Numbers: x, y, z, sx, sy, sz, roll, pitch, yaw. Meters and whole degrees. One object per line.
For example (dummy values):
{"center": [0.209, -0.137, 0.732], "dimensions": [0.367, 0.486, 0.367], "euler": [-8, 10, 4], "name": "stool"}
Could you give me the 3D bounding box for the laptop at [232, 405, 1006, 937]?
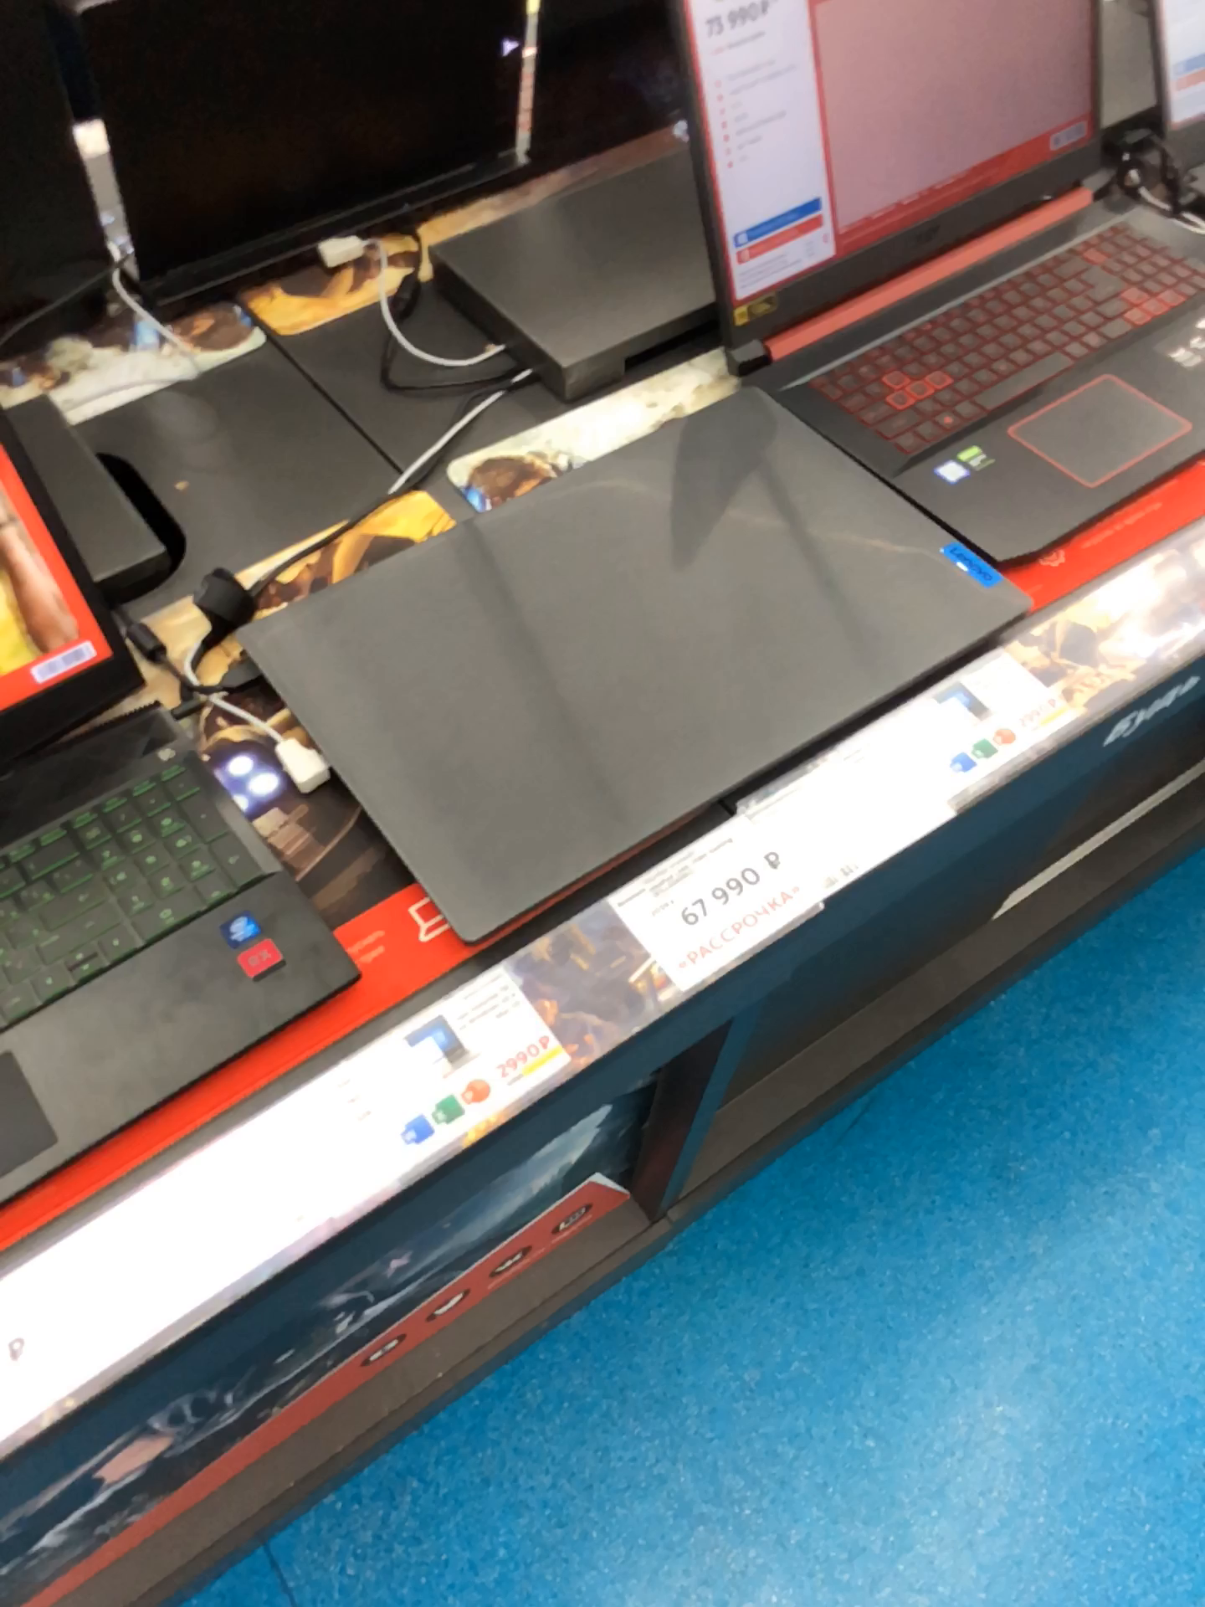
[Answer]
{"center": [0.010, -0.109, 0.808], "dimensions": [0.389, 0.002, 0.269], "euler": [-30, 57, -20], "name": "laptop"}
